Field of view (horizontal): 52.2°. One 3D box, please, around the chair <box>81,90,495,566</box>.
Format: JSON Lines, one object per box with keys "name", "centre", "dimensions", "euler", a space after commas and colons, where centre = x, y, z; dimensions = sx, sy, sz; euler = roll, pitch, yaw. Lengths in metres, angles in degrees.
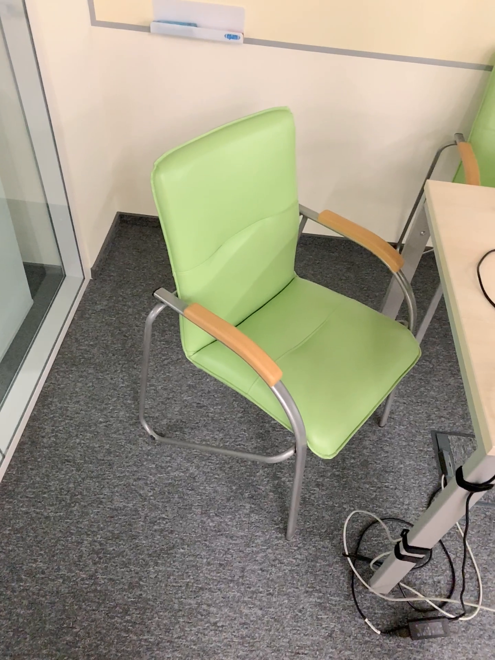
{"name": "chair", "centre": [0.099, -0.003, 1.377], "dimensions": [0.651, 0.896, 0.672], "euler": [35, 53, 24]}
